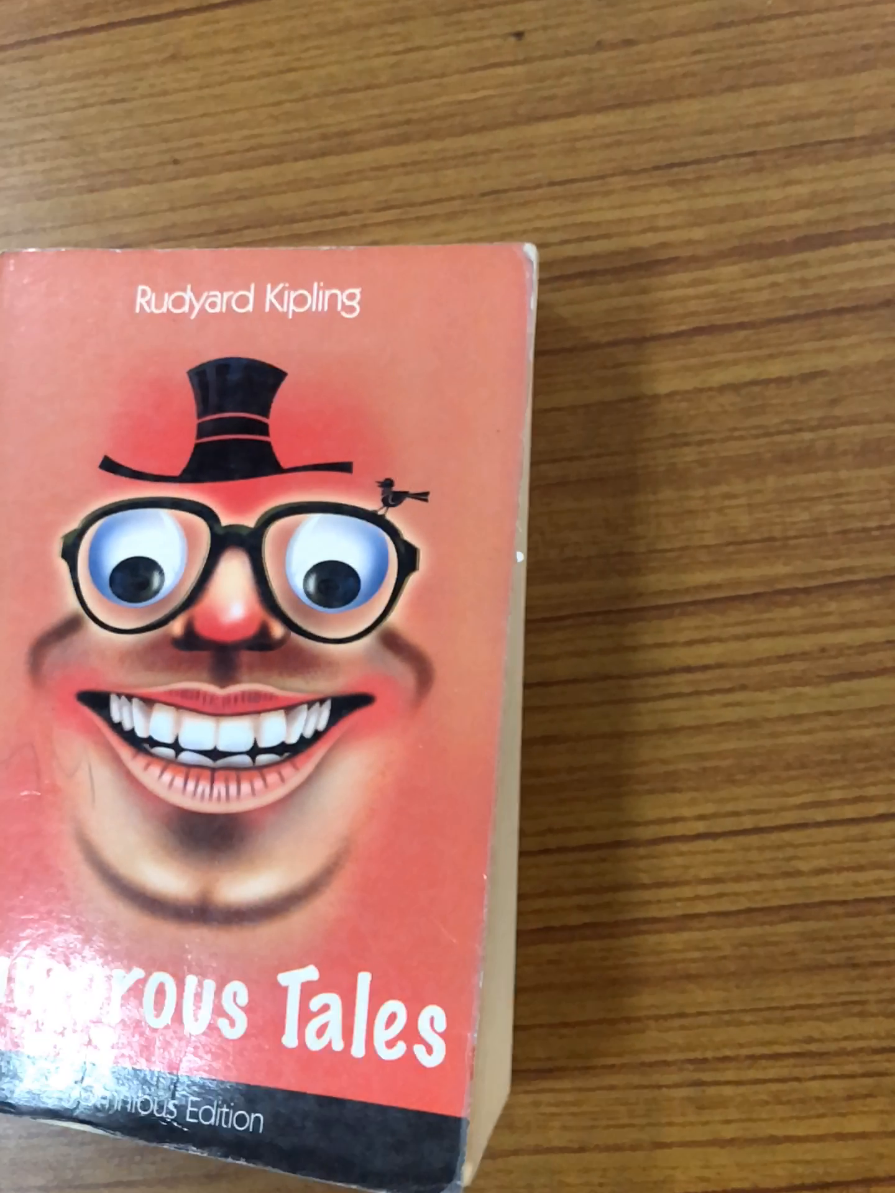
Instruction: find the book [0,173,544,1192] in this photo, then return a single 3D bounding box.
[{"bbox_3d":[-0.051,0.013,0.224,0.130,0.040,0.190,2,83,17],"label":"book"}]
